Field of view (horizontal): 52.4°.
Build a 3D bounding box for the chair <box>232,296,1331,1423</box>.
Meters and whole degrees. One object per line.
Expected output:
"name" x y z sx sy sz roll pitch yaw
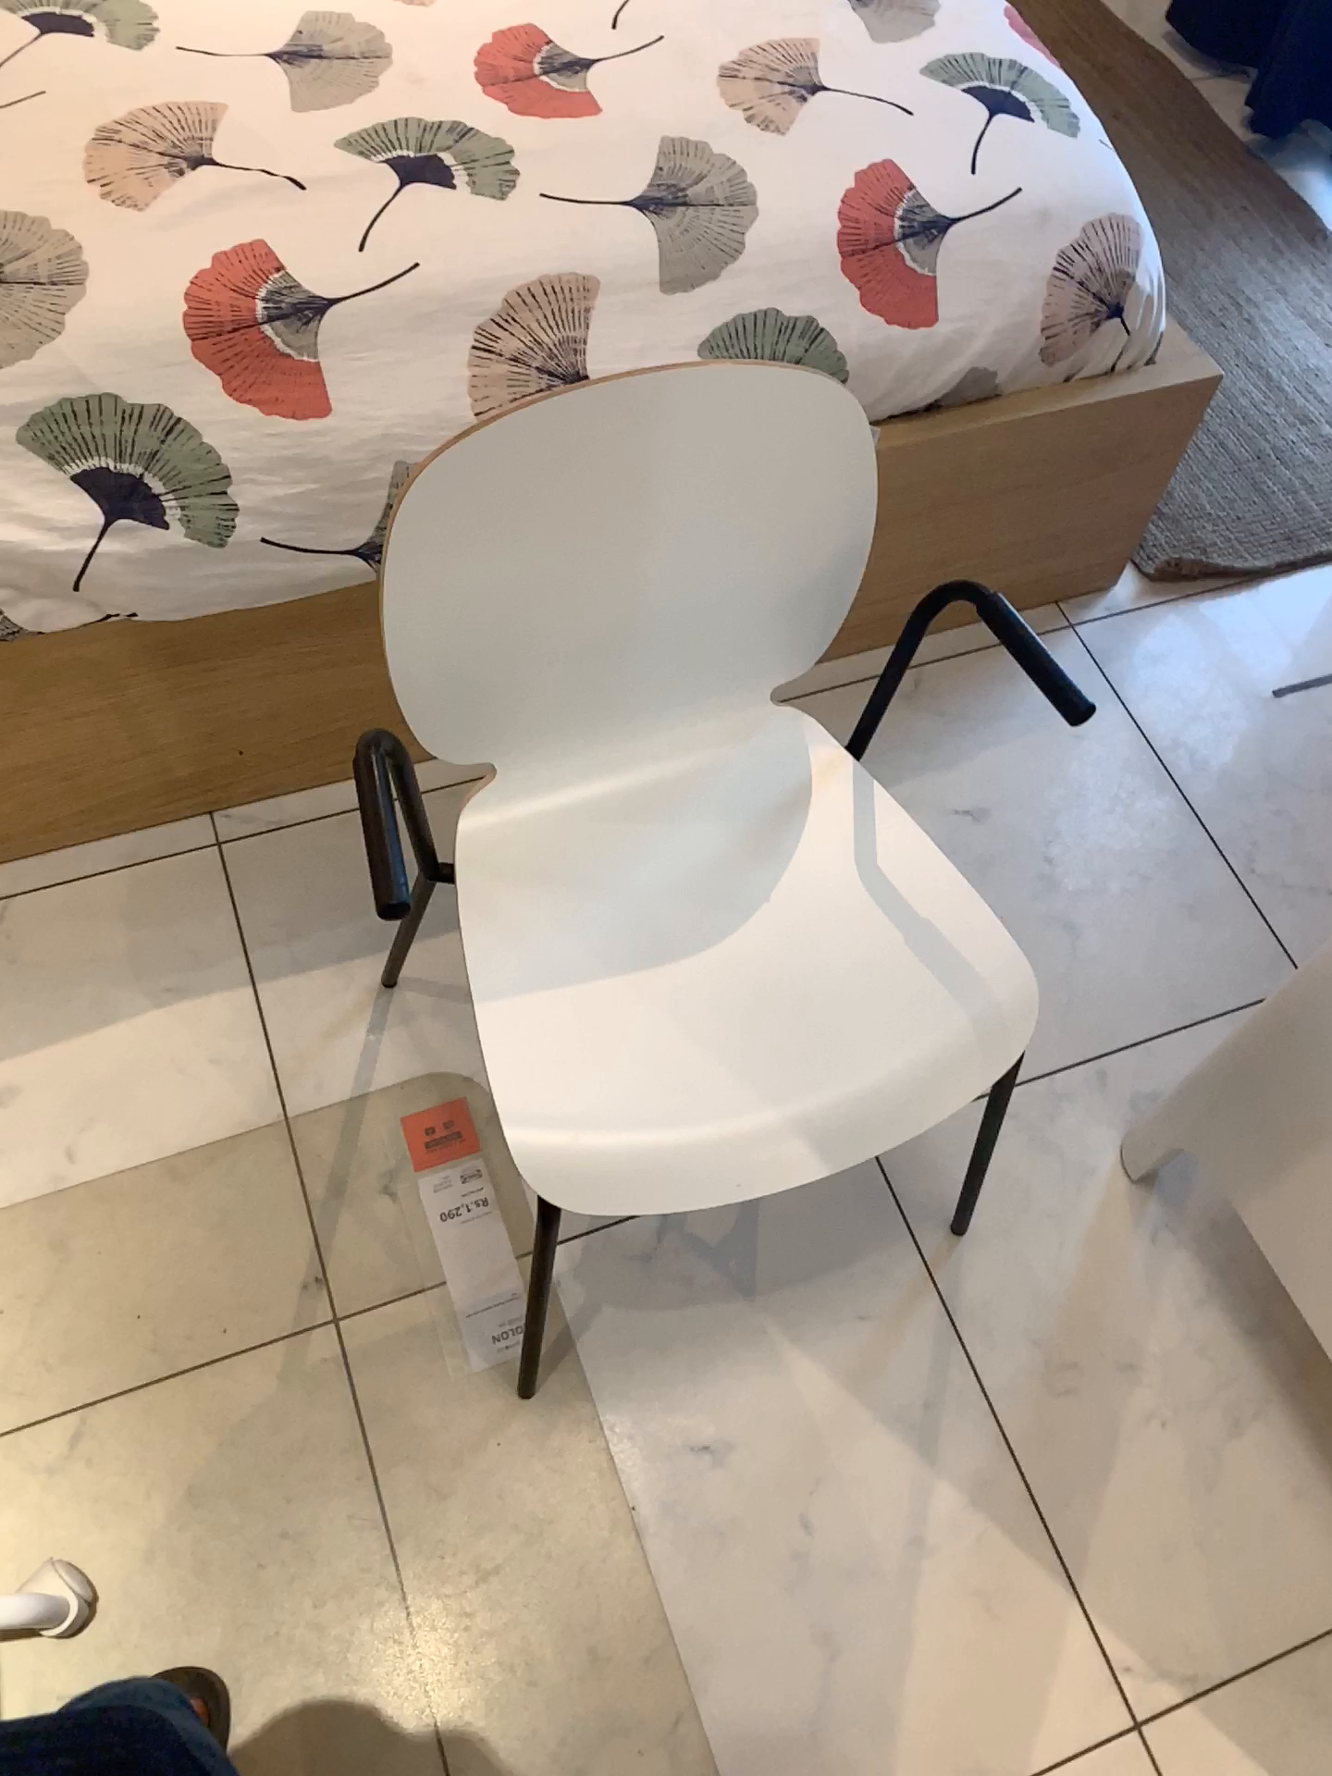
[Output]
"chair" 0.038 0.021 1.142 0.550 0.699 0.541 -16 62 -14
